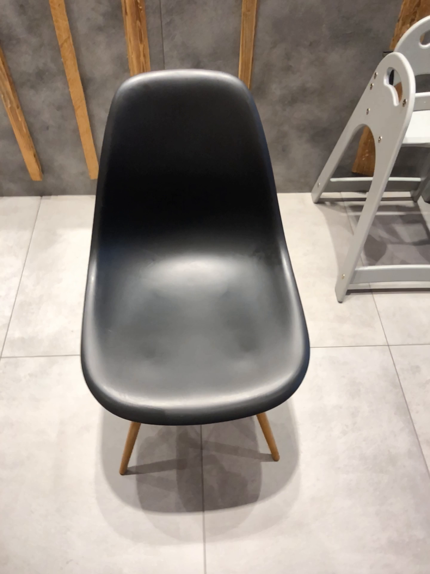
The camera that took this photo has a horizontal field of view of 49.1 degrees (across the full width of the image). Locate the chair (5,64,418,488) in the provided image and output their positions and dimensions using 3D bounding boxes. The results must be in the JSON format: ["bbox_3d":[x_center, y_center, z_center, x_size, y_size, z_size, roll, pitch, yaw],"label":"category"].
[{"bbox_3d":[-0.034,0.021,1.049,0.508,0.758,0.566,-3,52,-5],"label":"chair"}]
